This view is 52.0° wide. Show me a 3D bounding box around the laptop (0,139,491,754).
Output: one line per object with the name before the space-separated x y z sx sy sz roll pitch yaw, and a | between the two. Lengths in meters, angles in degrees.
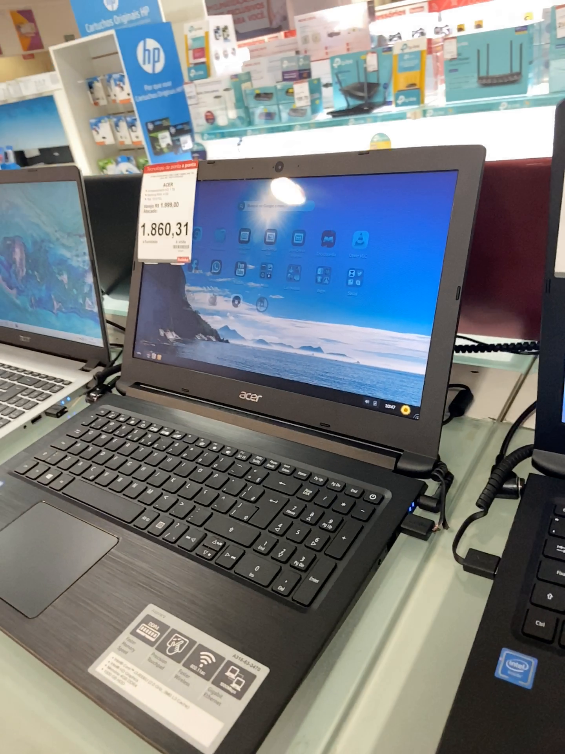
laptop | -0.090 -0.016 0.461 0.379 0.215 0.381 10 36 35
